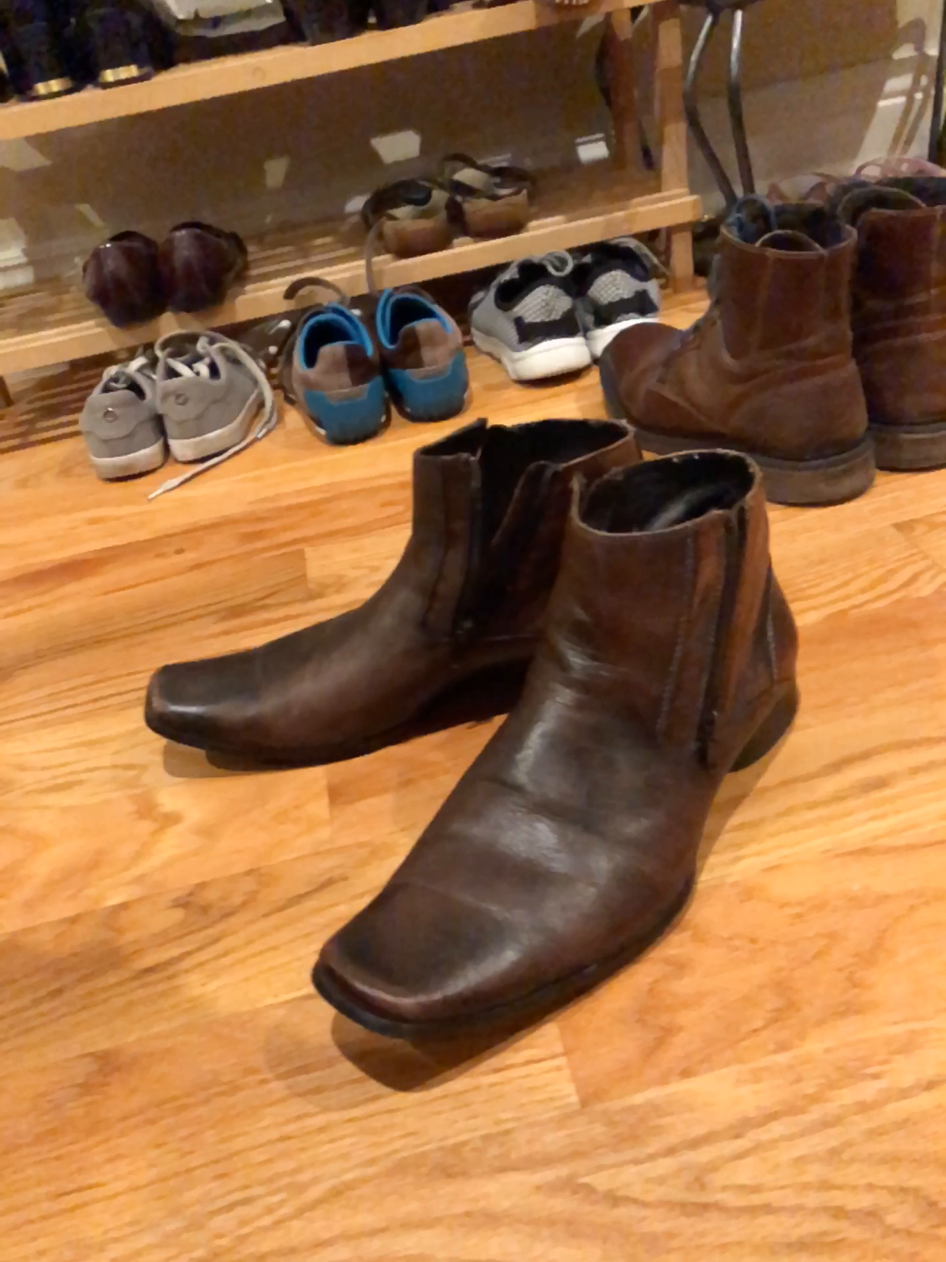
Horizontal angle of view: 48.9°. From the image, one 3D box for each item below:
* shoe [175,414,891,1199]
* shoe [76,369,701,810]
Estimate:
[{"bbox_3d":[0.053,0.045,0.439,0.109,0.152,0.301,20,44,40],"label":"shoe"},{"bbox_3d":[-0.038,-0.026,0.568,0.290,0.142,0.110,-14,32,-3],"label":"shoe"}]
